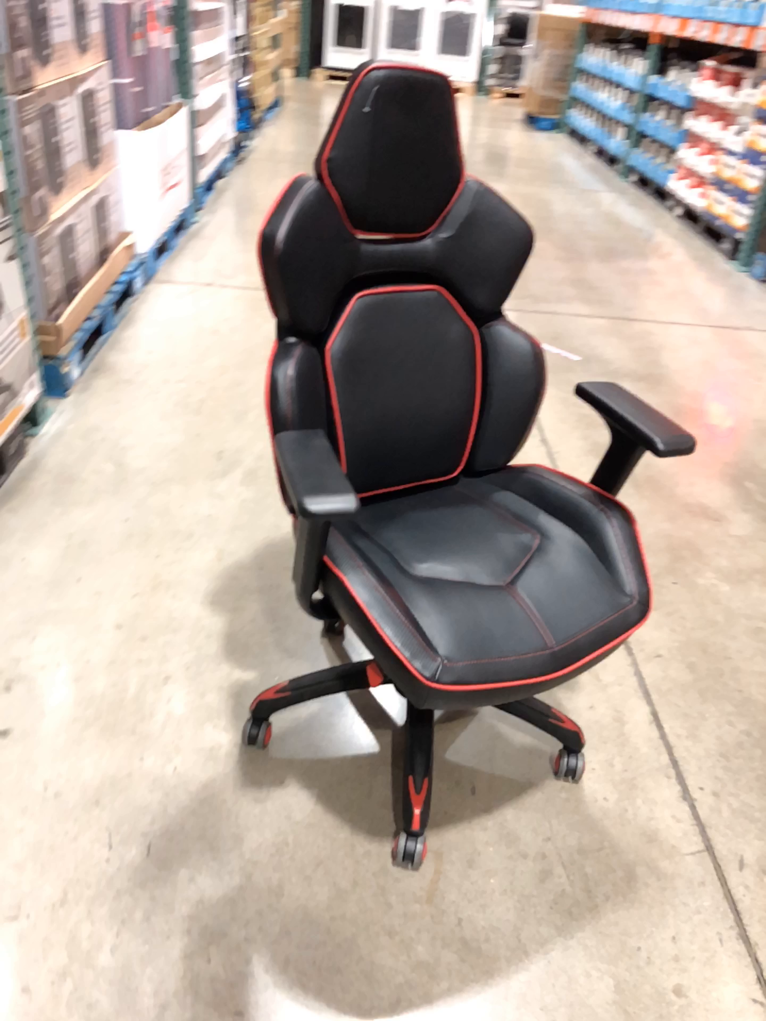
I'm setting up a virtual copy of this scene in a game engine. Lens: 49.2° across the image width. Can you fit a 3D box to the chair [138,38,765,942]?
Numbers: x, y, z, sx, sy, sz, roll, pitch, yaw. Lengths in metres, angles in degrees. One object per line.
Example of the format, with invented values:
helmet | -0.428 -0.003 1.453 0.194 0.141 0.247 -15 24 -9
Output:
chair | 0.100 -0.085 1.408 0.721 1.145 0.722 -15 37 -31
